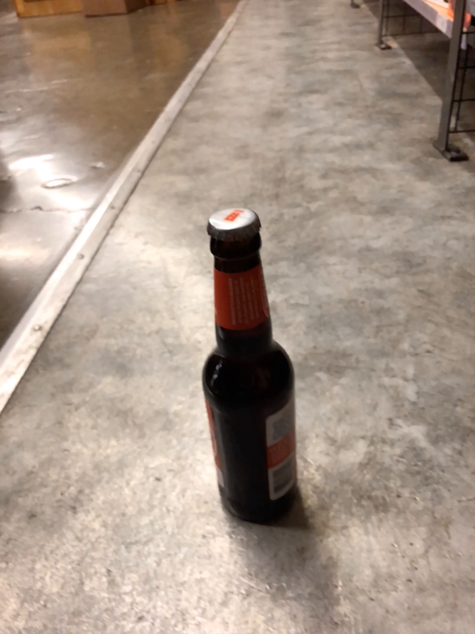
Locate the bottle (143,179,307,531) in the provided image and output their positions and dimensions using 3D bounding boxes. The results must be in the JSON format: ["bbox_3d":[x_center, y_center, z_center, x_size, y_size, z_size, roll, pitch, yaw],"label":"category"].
[{"bbox_3d":[0.003,0.034,0.331,0.060,0.220,0.059,-4,36,3],"label":"bottle"}]
